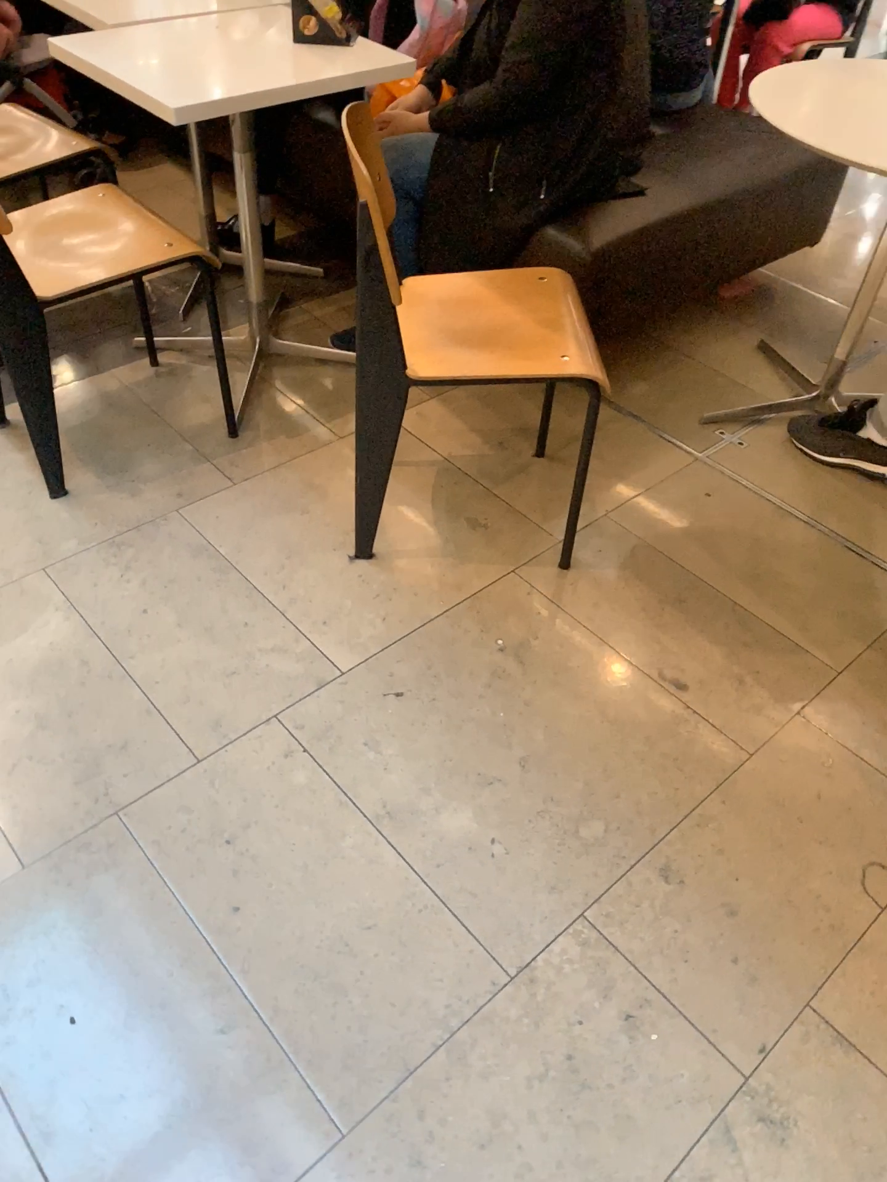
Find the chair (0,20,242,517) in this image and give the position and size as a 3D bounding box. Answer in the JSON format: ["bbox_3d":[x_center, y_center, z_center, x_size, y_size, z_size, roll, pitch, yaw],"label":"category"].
[{"bbox_3d":[-0.780,-0.655,1.855,0.496,0.767,0.429,-29,54,-30],"label":"chair"}]

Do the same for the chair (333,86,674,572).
[{"bbox_3d":[0.054,-0.461,1.712,0.494,0.767,0.421,0,45,-5],"label":"chair"}]
